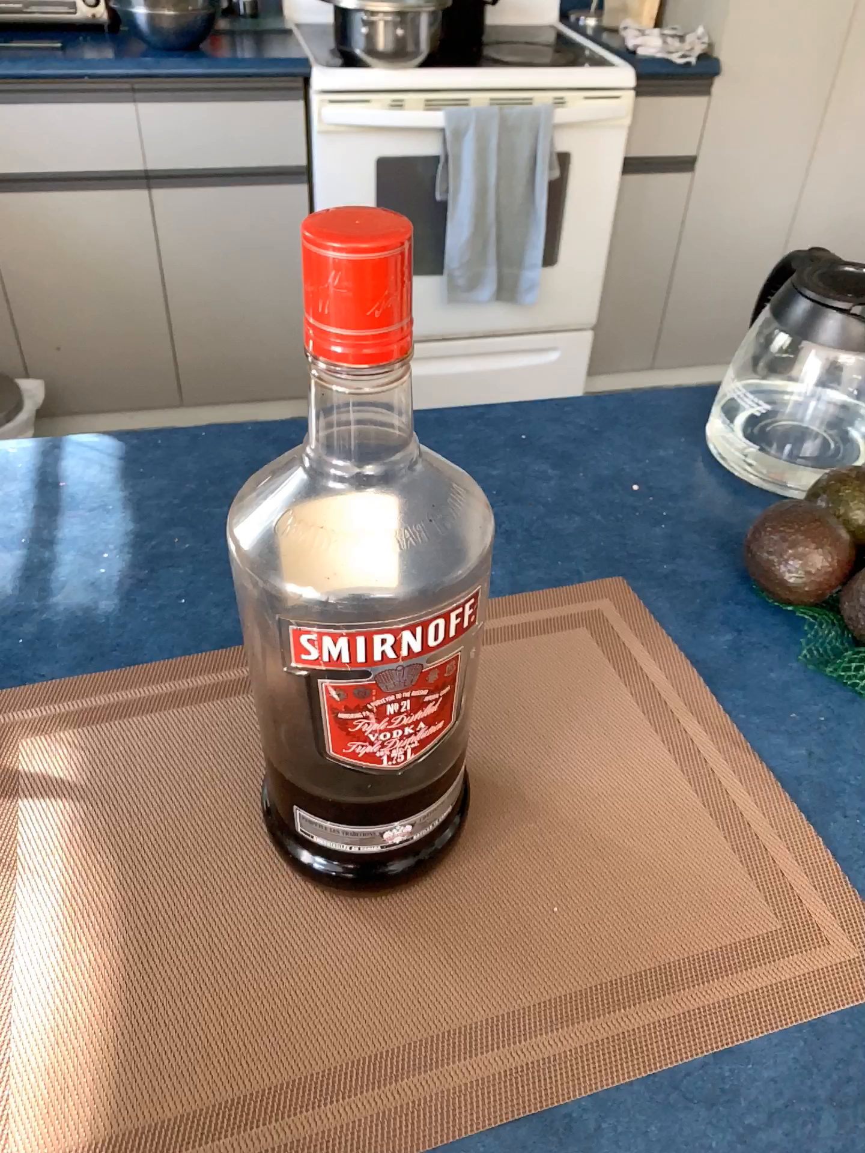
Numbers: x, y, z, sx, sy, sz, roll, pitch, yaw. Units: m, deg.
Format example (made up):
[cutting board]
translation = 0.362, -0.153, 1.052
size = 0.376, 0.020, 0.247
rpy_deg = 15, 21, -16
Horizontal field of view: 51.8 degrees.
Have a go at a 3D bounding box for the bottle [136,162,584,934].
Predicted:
[bottle]
translation = -0.036, 0.007, 0.388
size = 0.120, 0.317, 0.111
rpy_deg = 2, 40, -1
